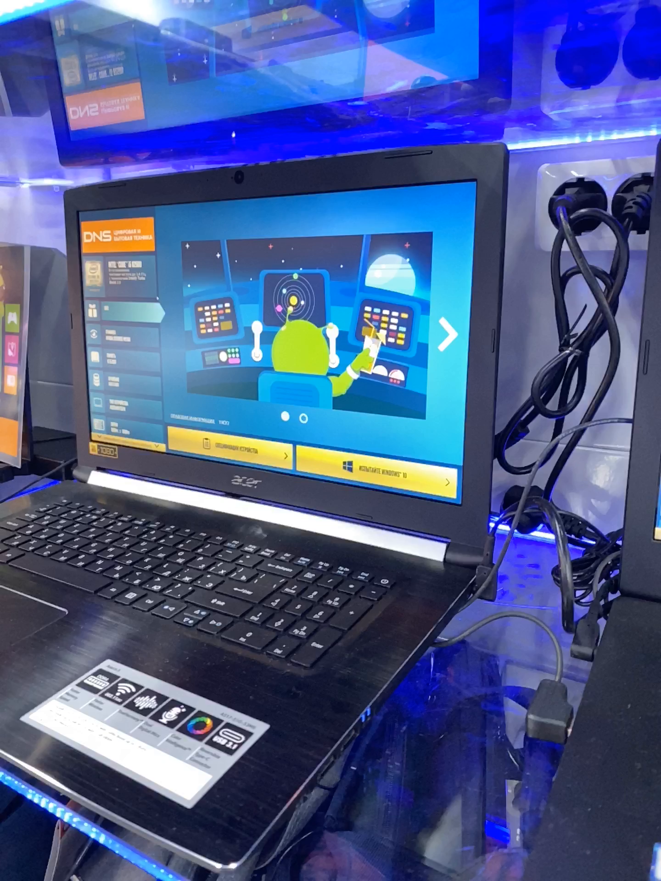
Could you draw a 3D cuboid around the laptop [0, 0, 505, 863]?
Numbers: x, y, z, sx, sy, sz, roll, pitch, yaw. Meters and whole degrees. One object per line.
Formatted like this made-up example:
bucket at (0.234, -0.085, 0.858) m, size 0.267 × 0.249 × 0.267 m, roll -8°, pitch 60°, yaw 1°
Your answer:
laptop at (-0.141, -0.043, 0.449) m, size 0.424 × 0.278 × 0.311 m, roll 7°, pitch 17°, yaw 30°
